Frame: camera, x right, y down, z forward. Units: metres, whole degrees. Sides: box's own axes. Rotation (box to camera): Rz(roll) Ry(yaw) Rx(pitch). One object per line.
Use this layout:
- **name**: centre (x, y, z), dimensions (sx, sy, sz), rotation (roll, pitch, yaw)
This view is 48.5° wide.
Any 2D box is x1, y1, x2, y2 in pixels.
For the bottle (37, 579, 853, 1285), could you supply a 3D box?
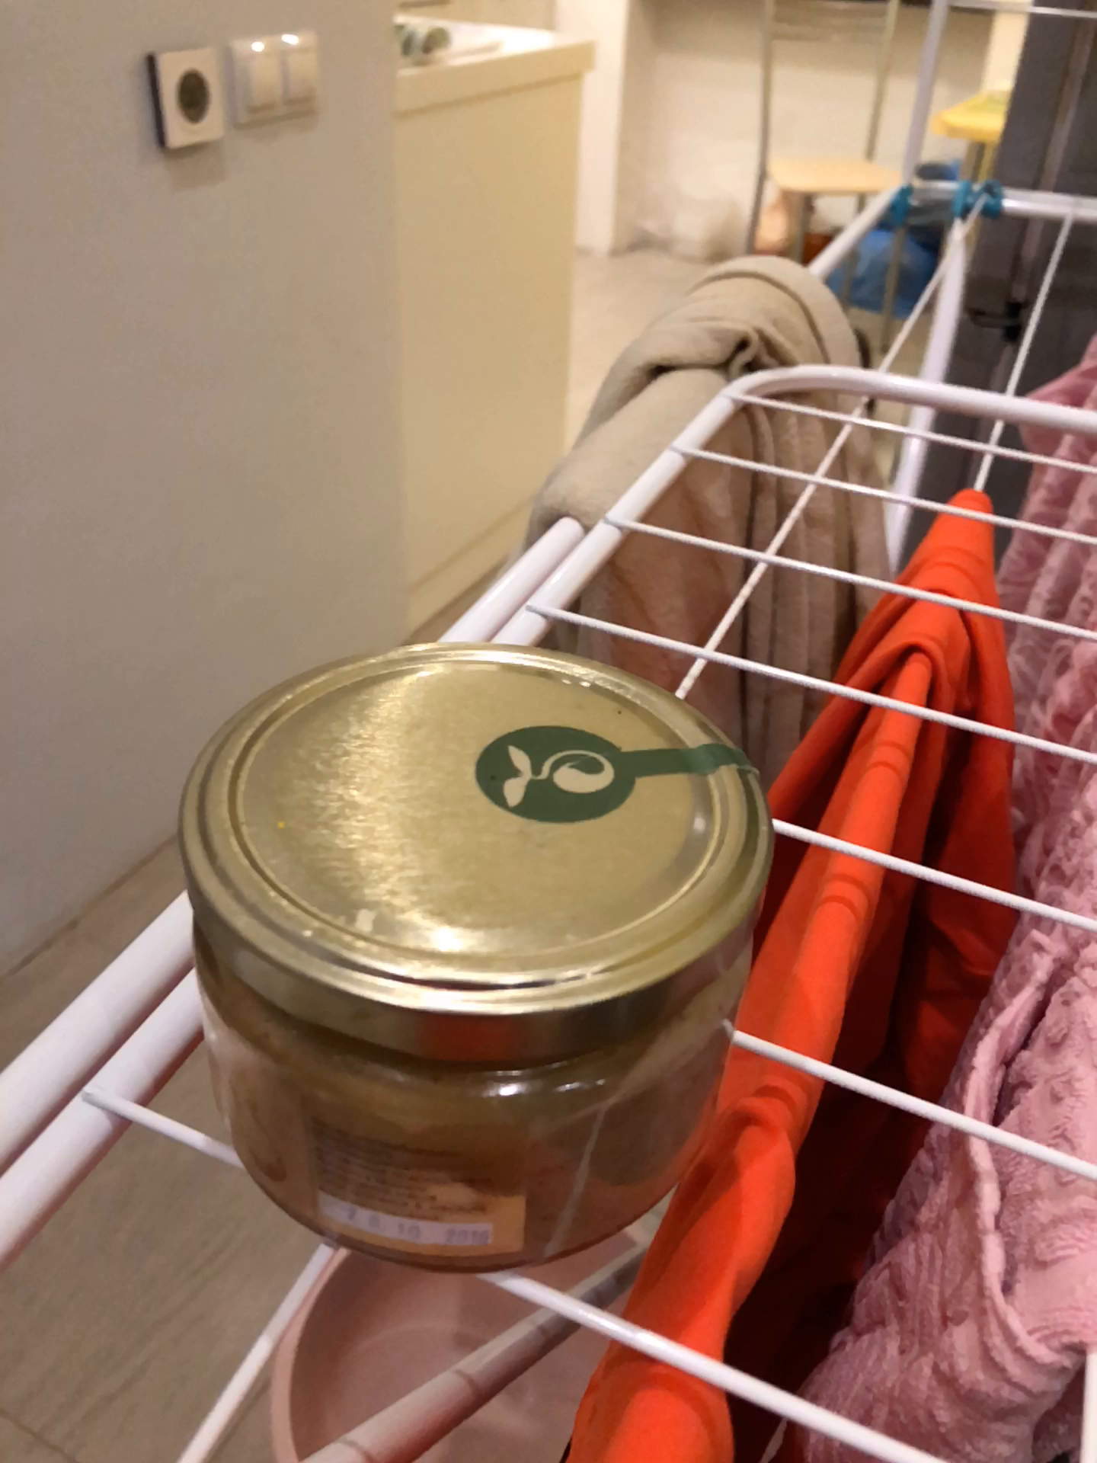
- **bottle**: centre (-0.014, 0.025, 0.189), dimensions (0.090, 0.060, 0.091), rotation (2, 35, -1)
